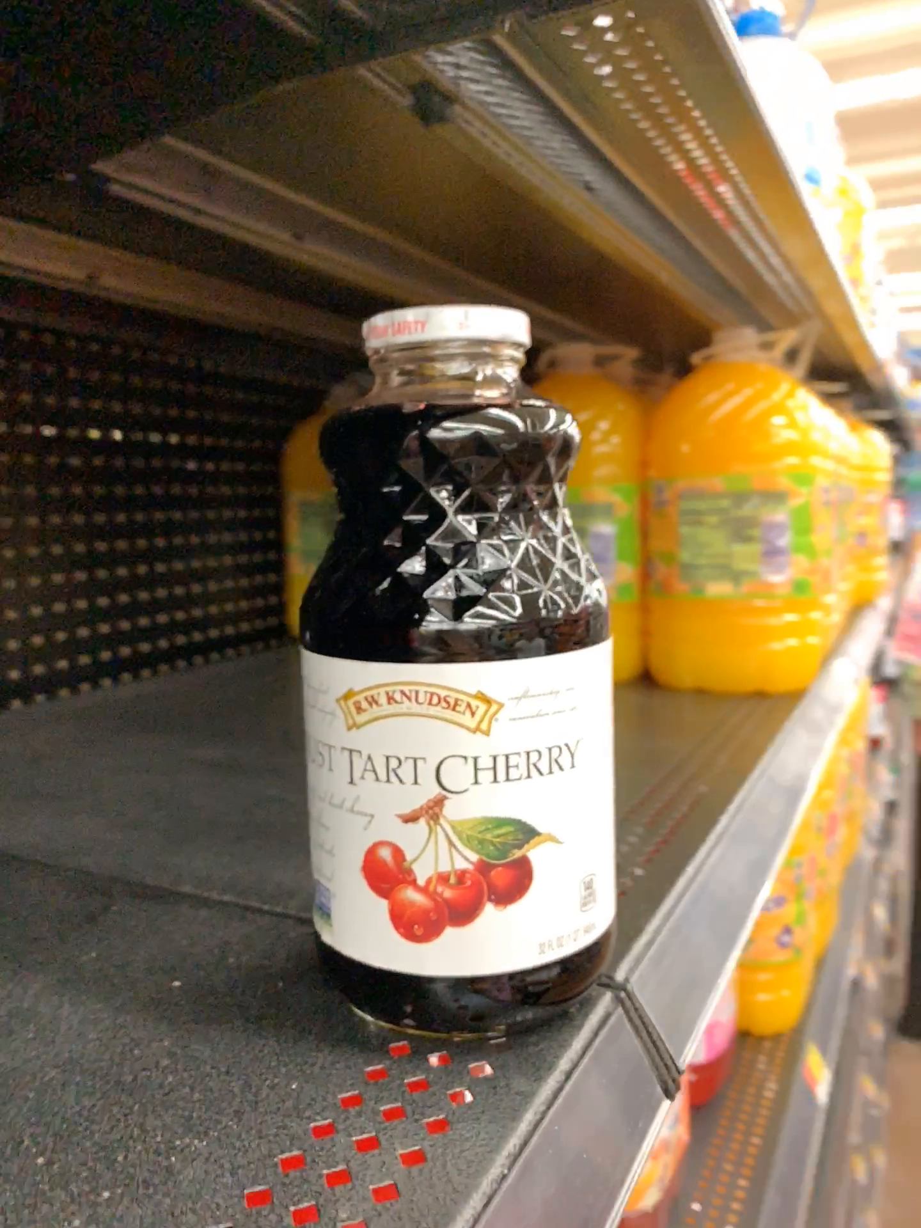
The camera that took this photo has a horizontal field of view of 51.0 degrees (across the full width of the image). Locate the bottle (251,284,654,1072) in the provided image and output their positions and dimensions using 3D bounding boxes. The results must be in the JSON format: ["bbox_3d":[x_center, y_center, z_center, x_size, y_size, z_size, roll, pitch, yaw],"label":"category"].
[{"bbox_3d":[0.007,0.013,0.305,0.100,0.200,0.110,1,7,13],"label":"bottle"}]
